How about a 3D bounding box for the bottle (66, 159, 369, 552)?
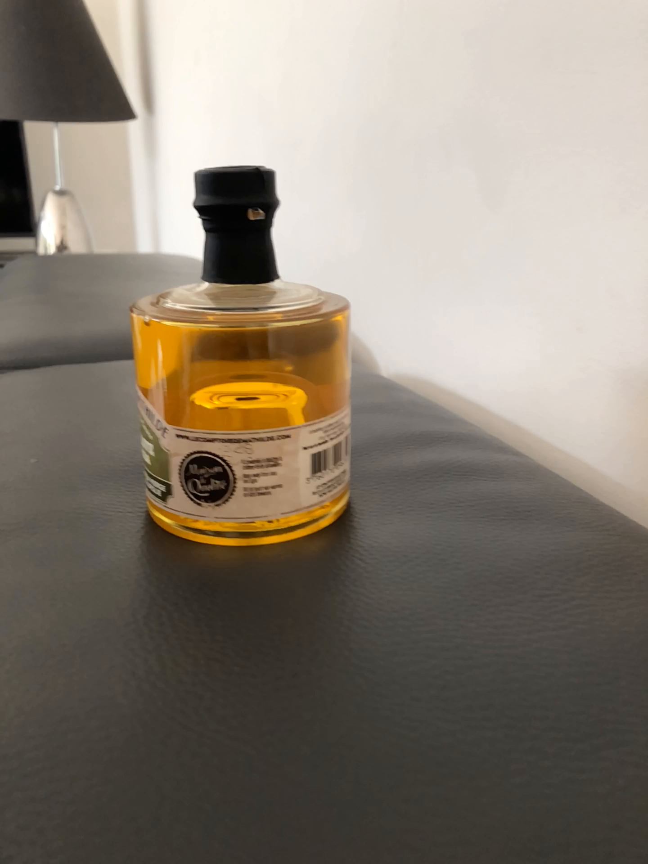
[{"bbox_3d":[-0.036,-0.036,0.279,0.090,0.129,0.090,0,20,0],"label":"bottle"}]
